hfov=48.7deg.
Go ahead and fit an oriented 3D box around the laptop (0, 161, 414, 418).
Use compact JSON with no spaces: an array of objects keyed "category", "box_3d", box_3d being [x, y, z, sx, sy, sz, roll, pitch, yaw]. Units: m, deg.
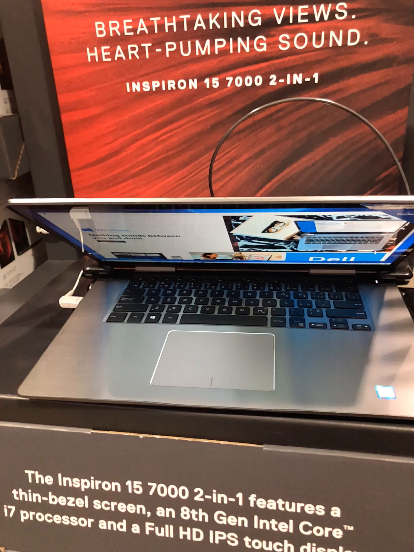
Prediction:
[{"category":"laptop","box_3d":[0.023,-0.010,0.439,0.355,0.137,0.213,1,26,9]}]
